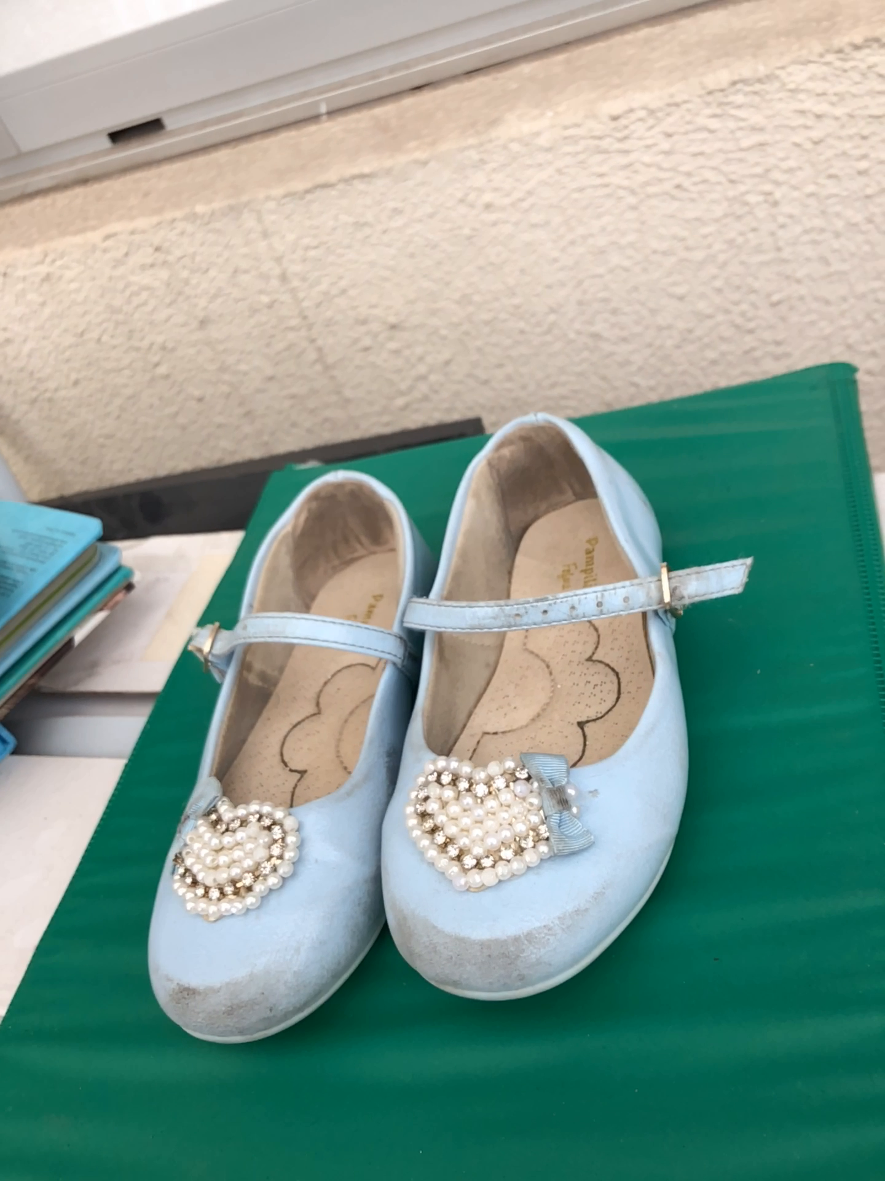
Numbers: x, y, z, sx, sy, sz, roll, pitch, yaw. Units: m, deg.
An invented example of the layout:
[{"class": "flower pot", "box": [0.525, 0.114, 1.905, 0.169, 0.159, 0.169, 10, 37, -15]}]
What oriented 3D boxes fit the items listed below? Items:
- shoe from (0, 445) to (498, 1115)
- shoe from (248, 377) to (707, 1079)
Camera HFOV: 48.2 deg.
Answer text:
[{"class": "shoe", "box": [-0.044, 0.039, 0.270, 0.086, 0.050, 0.171, -5, 44, 19]}, {"class": "shoe", "box": [0.022, 0.022, 0.251, 0.080, 0.050, 0.171, -5, 44, 19]}]
